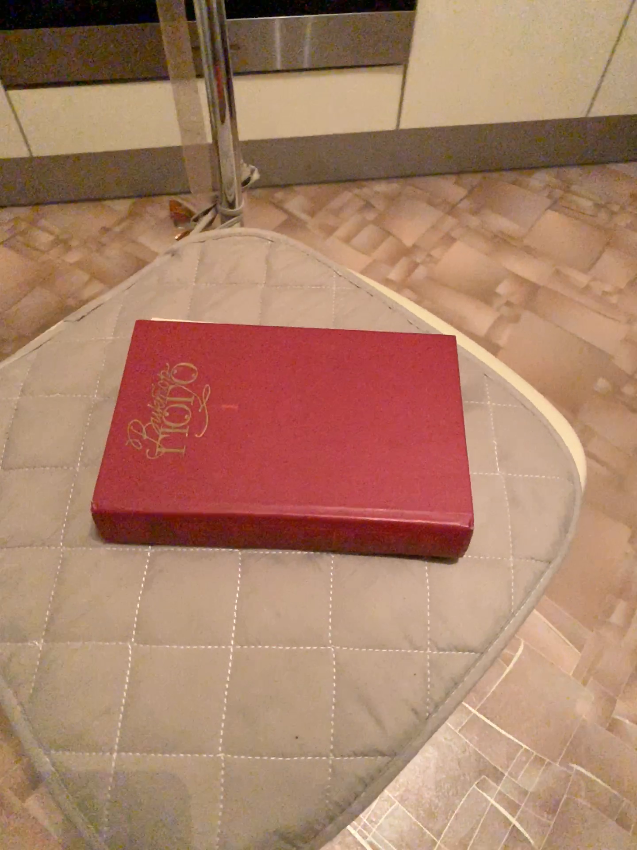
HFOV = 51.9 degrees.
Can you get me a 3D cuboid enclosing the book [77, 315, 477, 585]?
[{"bbox_3d":[-0.019,0.013,0.389,0.200,0.060,0.141,3,58,0],"label":"book"}]
